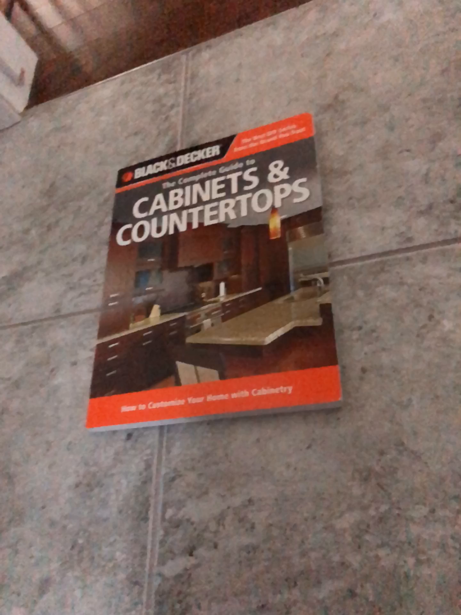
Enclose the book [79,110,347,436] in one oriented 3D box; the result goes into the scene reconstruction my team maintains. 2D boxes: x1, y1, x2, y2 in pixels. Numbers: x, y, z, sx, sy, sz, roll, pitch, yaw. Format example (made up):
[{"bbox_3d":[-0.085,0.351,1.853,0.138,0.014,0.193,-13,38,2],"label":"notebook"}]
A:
[{"bbox_3d":[-0.020,-0.037,0.458,0.216,0.022,0.281,-10,61,20],"label":"book"}]
